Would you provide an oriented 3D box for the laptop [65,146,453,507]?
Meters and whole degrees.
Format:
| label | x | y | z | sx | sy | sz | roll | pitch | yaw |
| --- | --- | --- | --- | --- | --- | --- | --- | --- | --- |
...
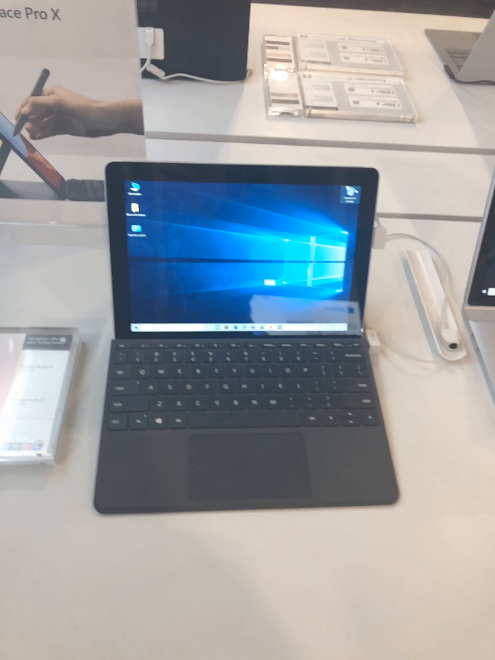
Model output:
| label | x | y | z | sx | sy | sz | roll | pitch | yaw |
| --- | --- | --- | --- | --- | --- | --- | --- | --- | --- |
| laptop | -0.003 | -0.009 | 0.458 | 0.236 | 0.140 | 0.251 | 0 | 52 | -7 |
